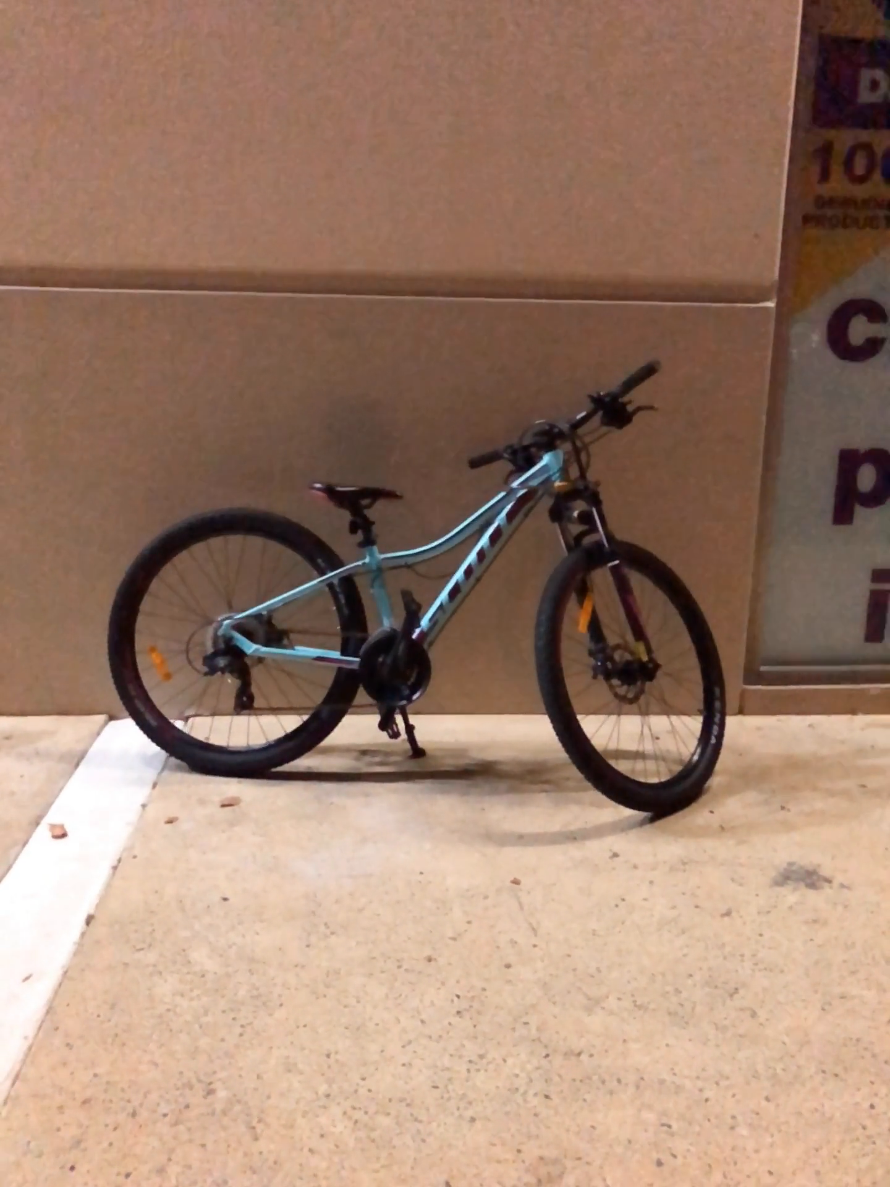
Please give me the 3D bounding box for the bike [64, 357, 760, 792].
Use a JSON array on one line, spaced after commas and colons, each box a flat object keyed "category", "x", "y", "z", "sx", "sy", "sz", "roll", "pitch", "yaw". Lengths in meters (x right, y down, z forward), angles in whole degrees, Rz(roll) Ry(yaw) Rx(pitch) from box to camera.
[{"category": "bike", "x": -0.048, "y": -0.092, "z": 2.653, "sx": 1.603, "sy": 1.064, "sz": 0.589, "roll": 0, "pitch": 13, "yaw": -1}]
